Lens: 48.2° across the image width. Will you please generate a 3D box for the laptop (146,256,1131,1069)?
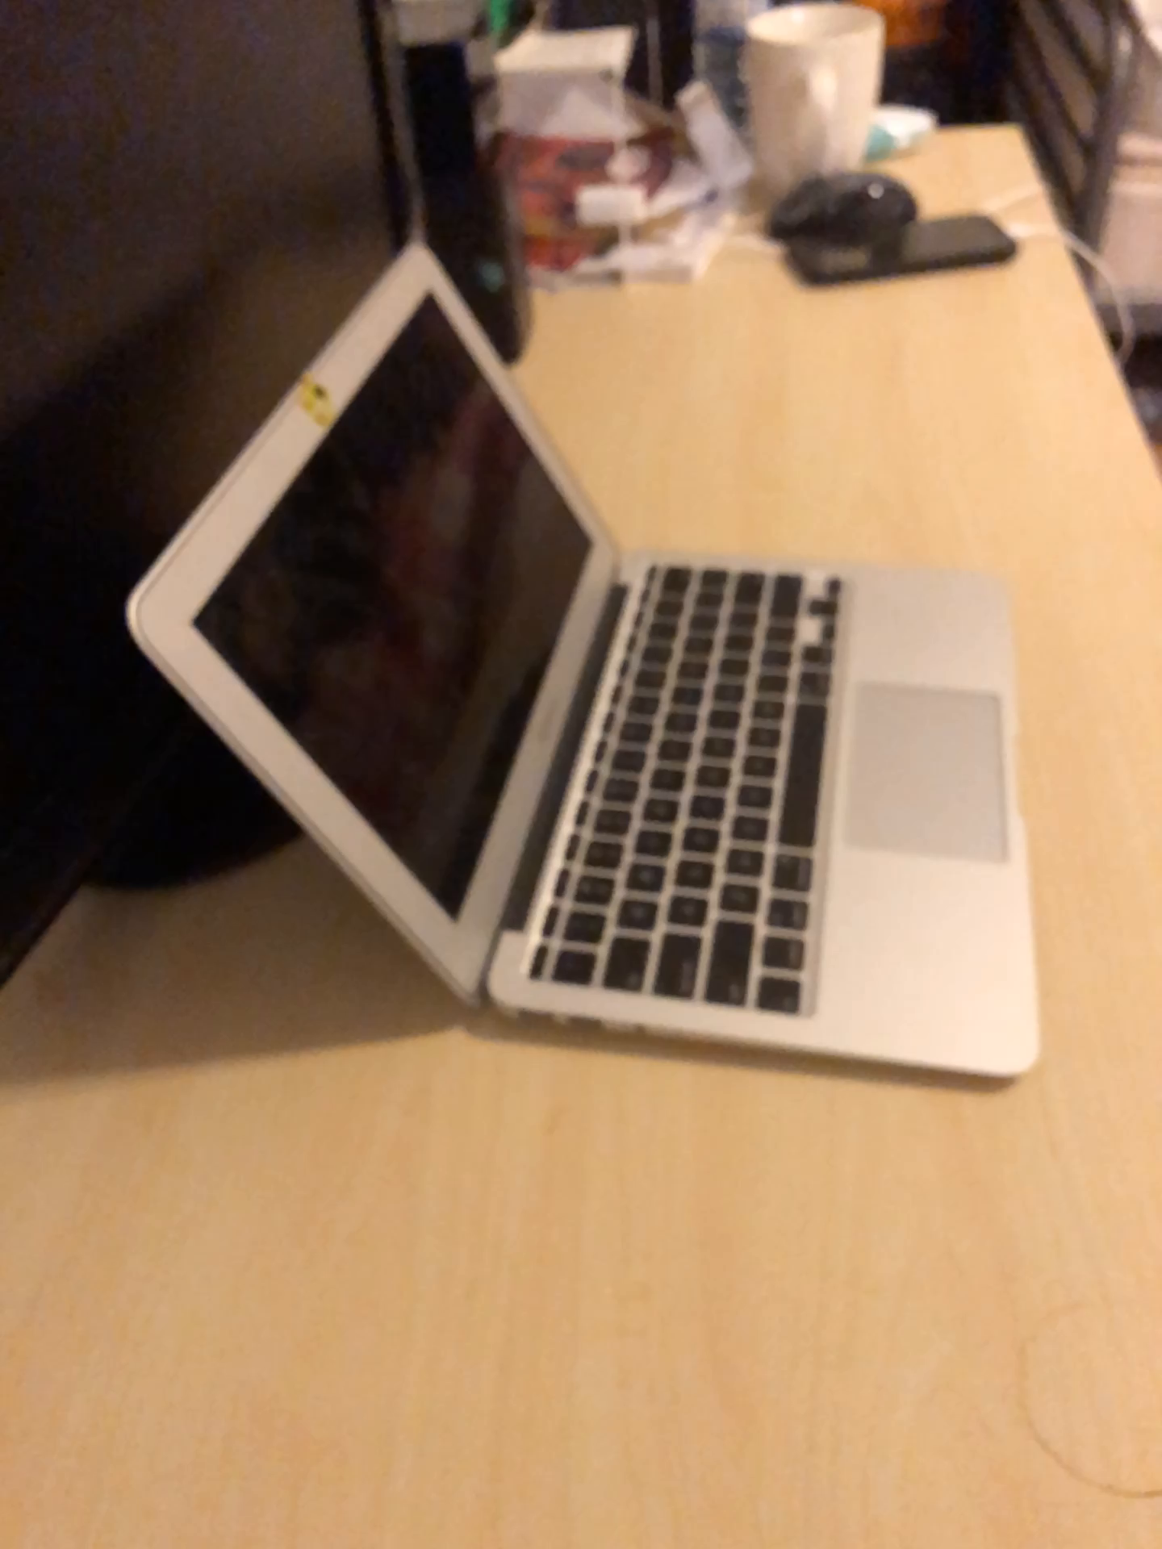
[{"bbox_3d":[0.037,-0.069,0.517,0.274,0.161,0.292,5,42,11],"label":"laptop"}]
